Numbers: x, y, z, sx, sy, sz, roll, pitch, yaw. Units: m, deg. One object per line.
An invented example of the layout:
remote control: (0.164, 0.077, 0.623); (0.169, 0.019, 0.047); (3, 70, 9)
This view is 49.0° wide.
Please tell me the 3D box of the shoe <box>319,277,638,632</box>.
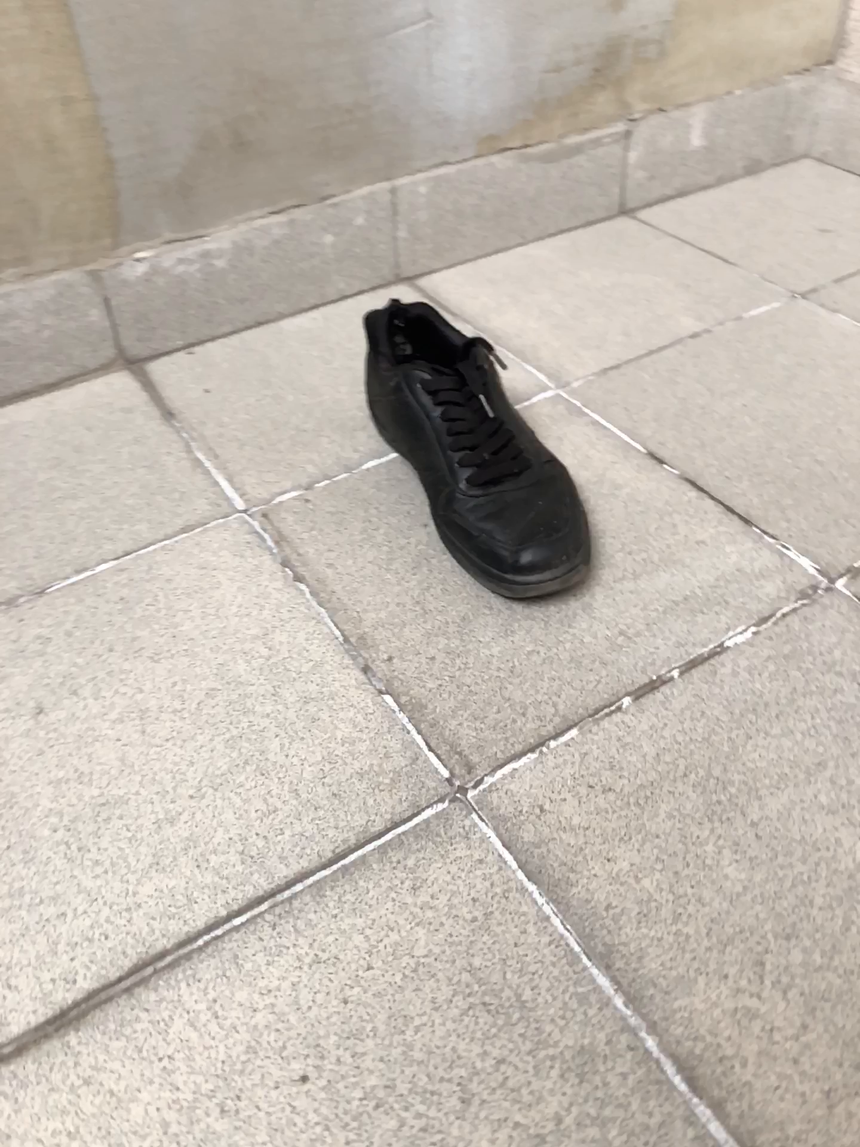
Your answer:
shoe: (0.020, -0.103, 0.690); (0.110, 0.099, 0.292); (-16, 44, -16)
